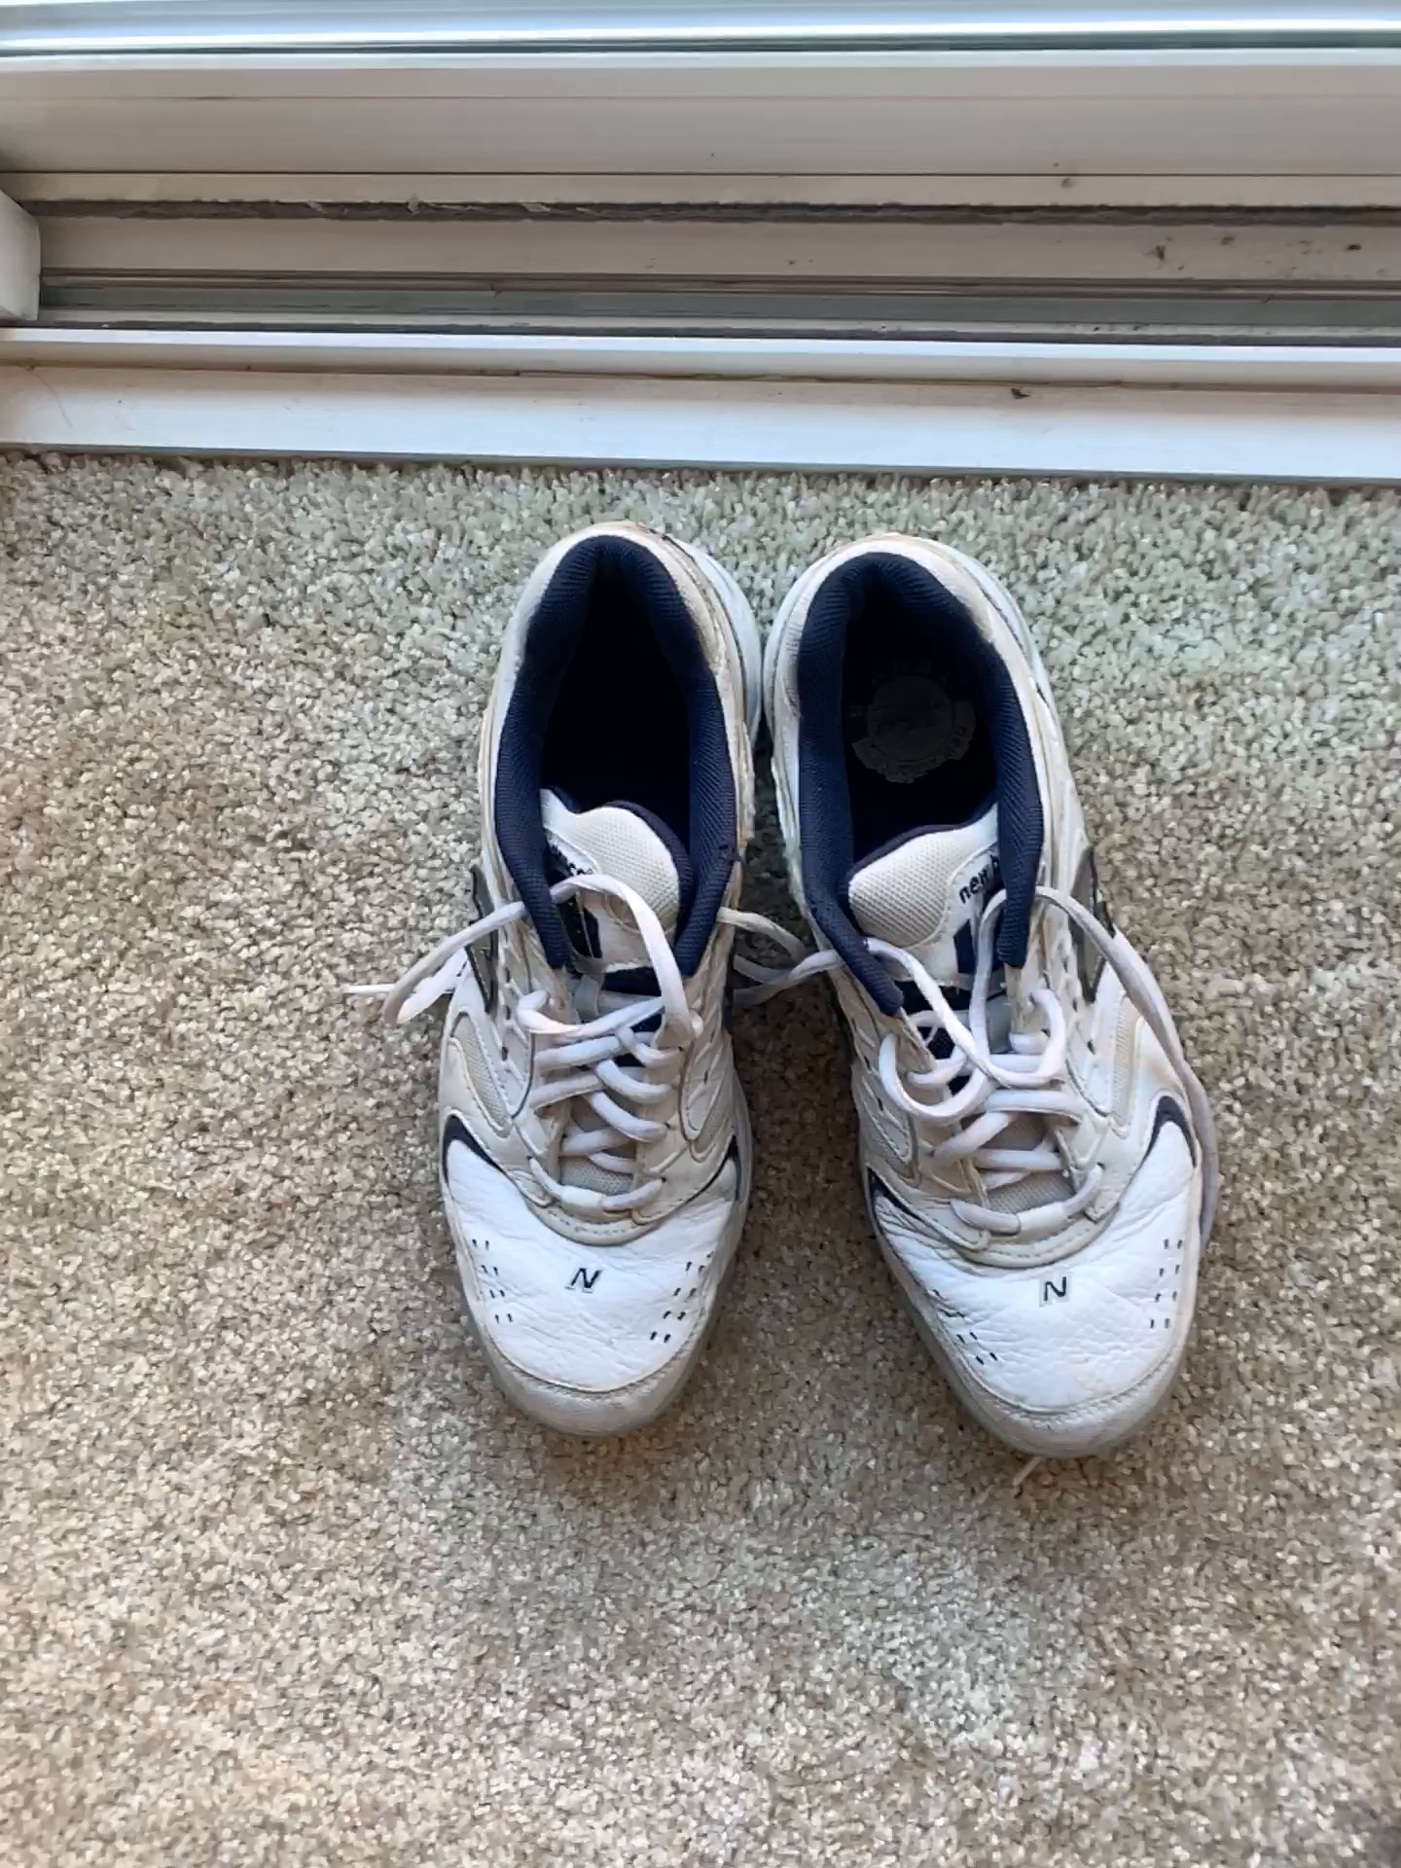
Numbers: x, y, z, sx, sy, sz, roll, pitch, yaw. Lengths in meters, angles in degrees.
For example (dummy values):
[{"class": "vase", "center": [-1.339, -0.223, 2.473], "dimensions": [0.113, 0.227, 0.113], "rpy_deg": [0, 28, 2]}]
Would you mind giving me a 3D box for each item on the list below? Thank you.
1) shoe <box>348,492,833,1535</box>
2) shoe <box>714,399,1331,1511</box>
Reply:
[{"class": "shoe", "center": [-0.027, 0.019, 0.432], "dimensions": [0.110, 0.100, 0.270], "rpy_deg": [4, 92, 7]}, {"class": "shoe", "center": [0.091, 0.007, 0.436], "dimensions": [0.110, 0.110, 0.280], "rpy_deg": [-11, 91, 7]}]
